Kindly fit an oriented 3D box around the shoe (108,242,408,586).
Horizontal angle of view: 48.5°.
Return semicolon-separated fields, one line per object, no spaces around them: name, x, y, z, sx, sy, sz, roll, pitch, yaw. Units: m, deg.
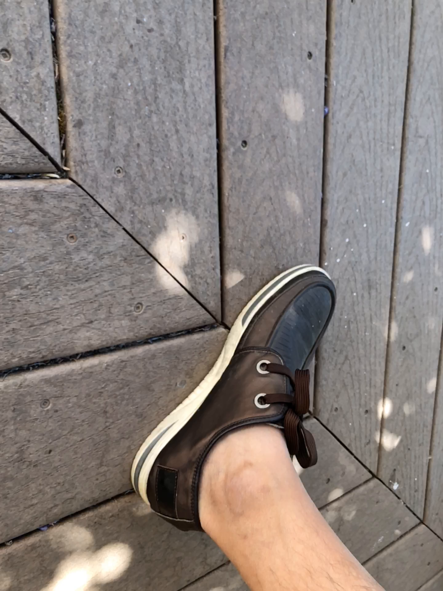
shoe;0.046;0.093;0.463;0.289;0.096;0.107;-51;125;-18
